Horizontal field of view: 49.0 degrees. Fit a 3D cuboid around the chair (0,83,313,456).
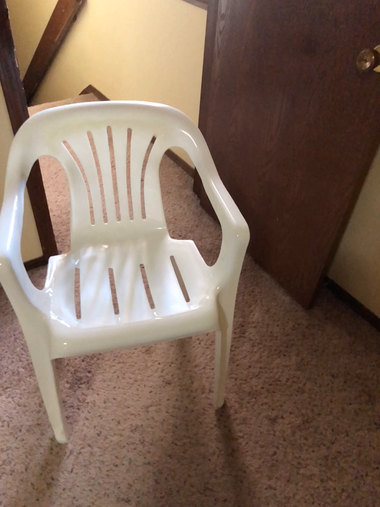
[{"bbox_3d":[-0.155,0.053,1.061,0.580,0.768,0.471,-7,44,-13],"label":"chair"}]
